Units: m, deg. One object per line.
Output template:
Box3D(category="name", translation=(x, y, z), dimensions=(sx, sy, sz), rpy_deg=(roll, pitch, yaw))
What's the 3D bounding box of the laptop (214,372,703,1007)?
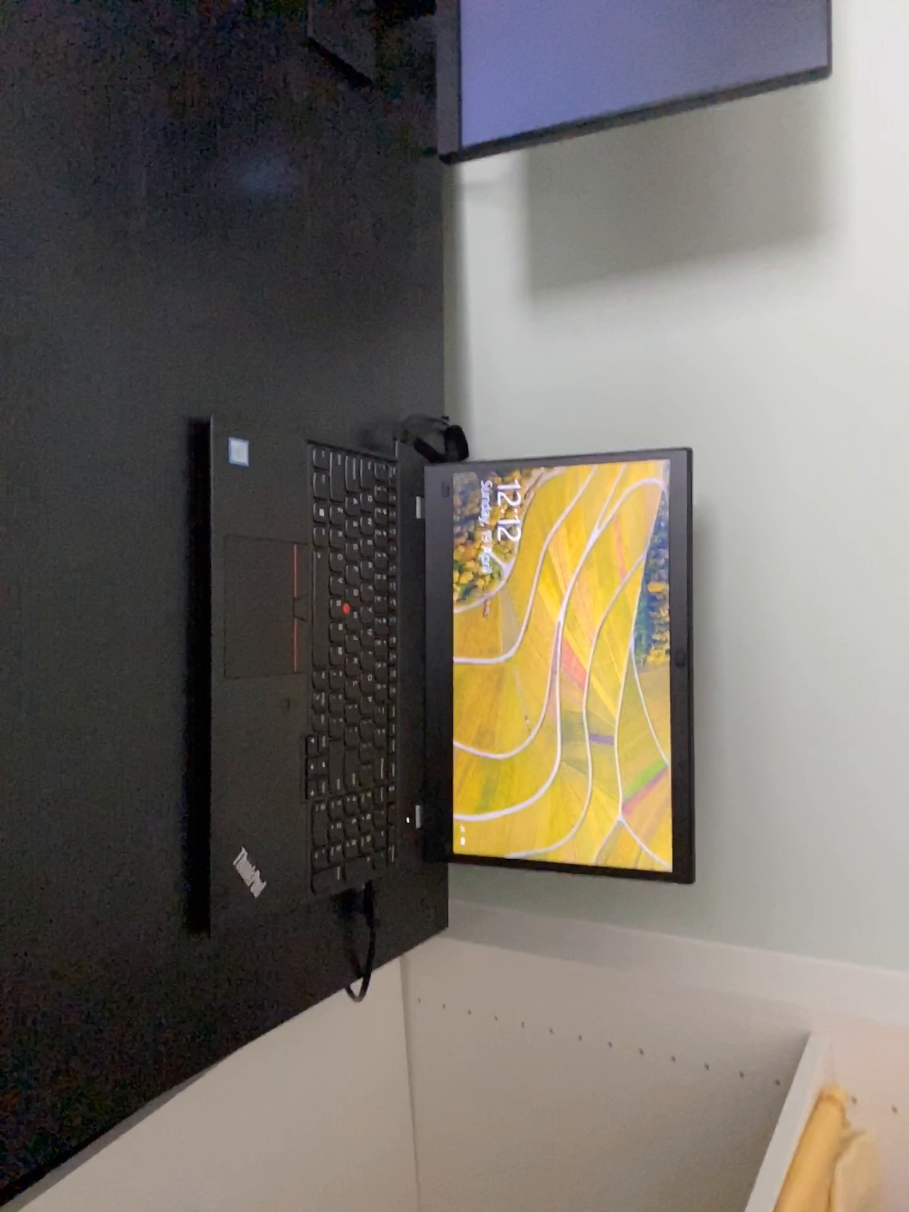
Box3D(category="laptop", translation=(0.019, 0.049, 0.693), dimensions=(0.295, 0.231, 0.351), rpy_deg=(2, 87, -58))
